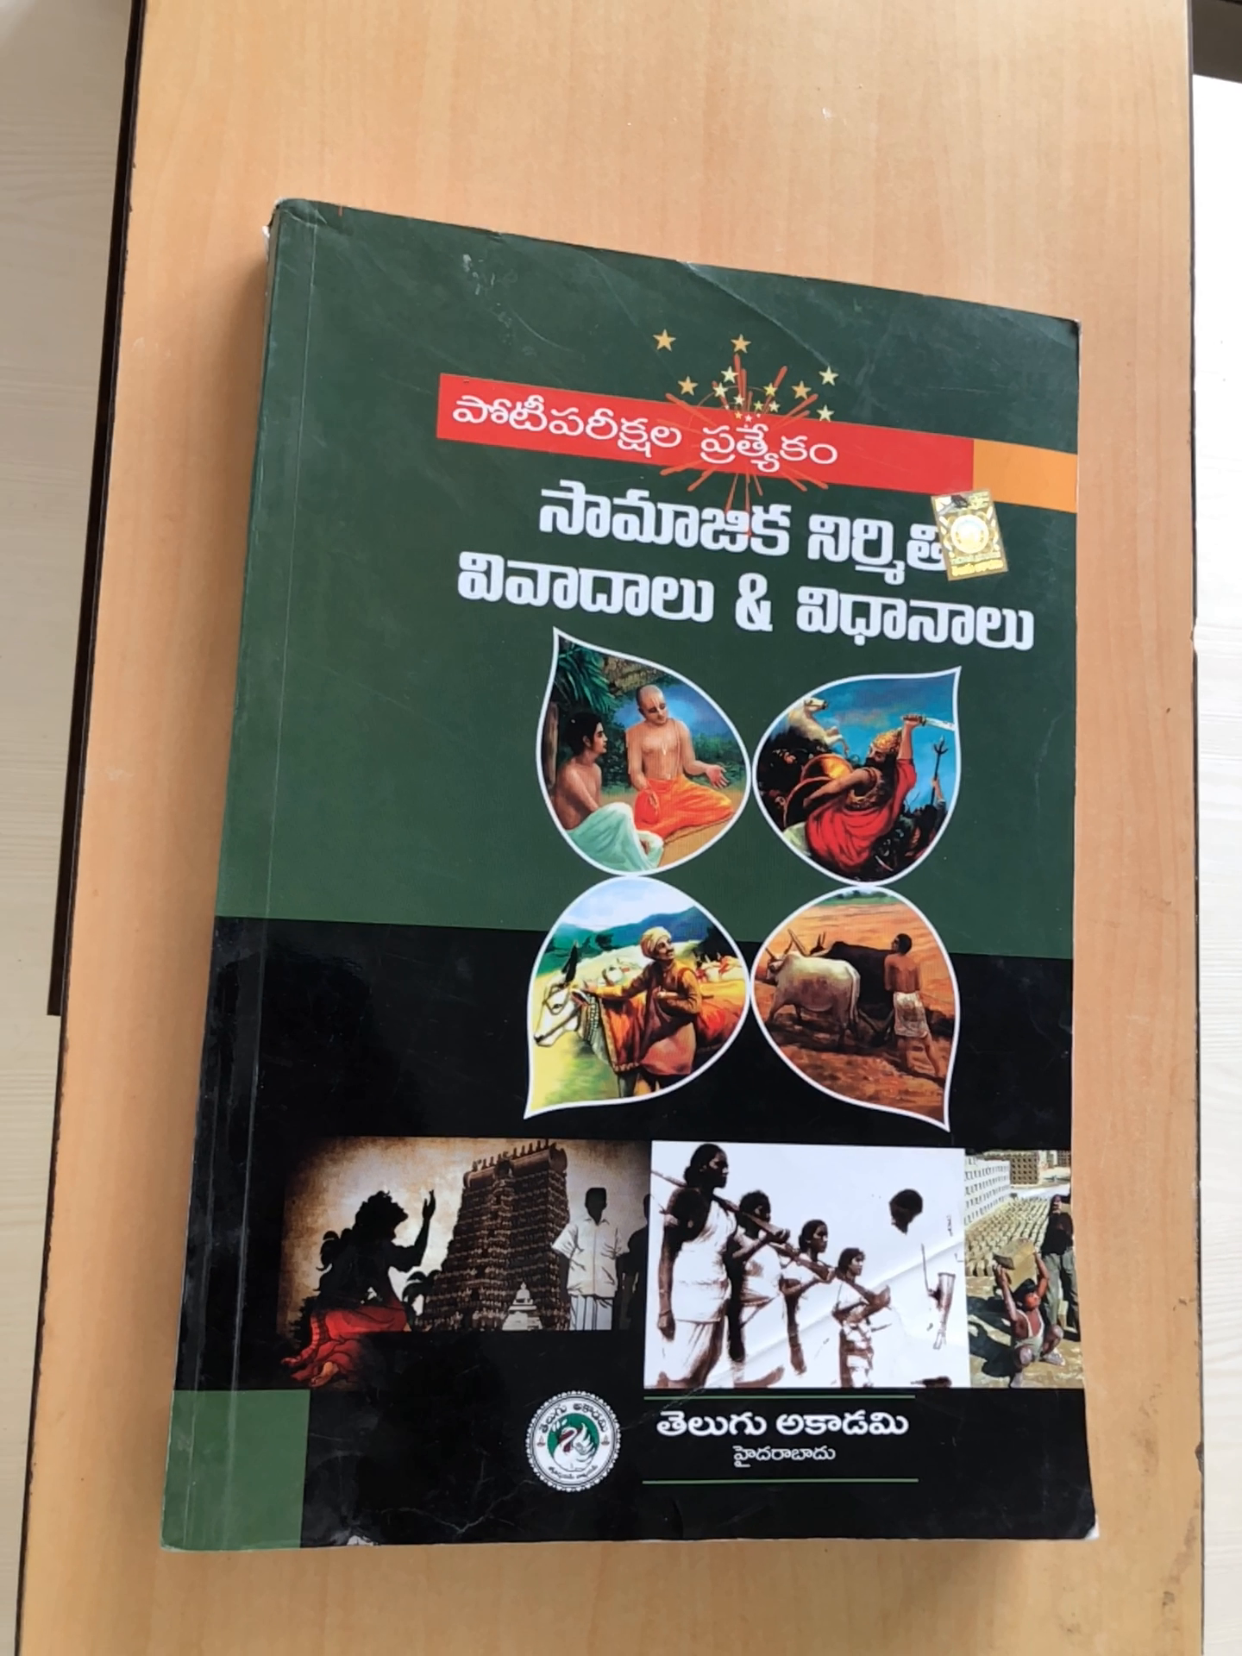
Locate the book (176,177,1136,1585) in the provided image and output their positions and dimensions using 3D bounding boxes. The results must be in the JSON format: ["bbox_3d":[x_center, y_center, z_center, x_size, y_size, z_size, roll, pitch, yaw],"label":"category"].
[{"bbox_3d":[0.013,0.010,0.307,0.190,0.050,0.270,4,83,-11],"label":"book"}]
